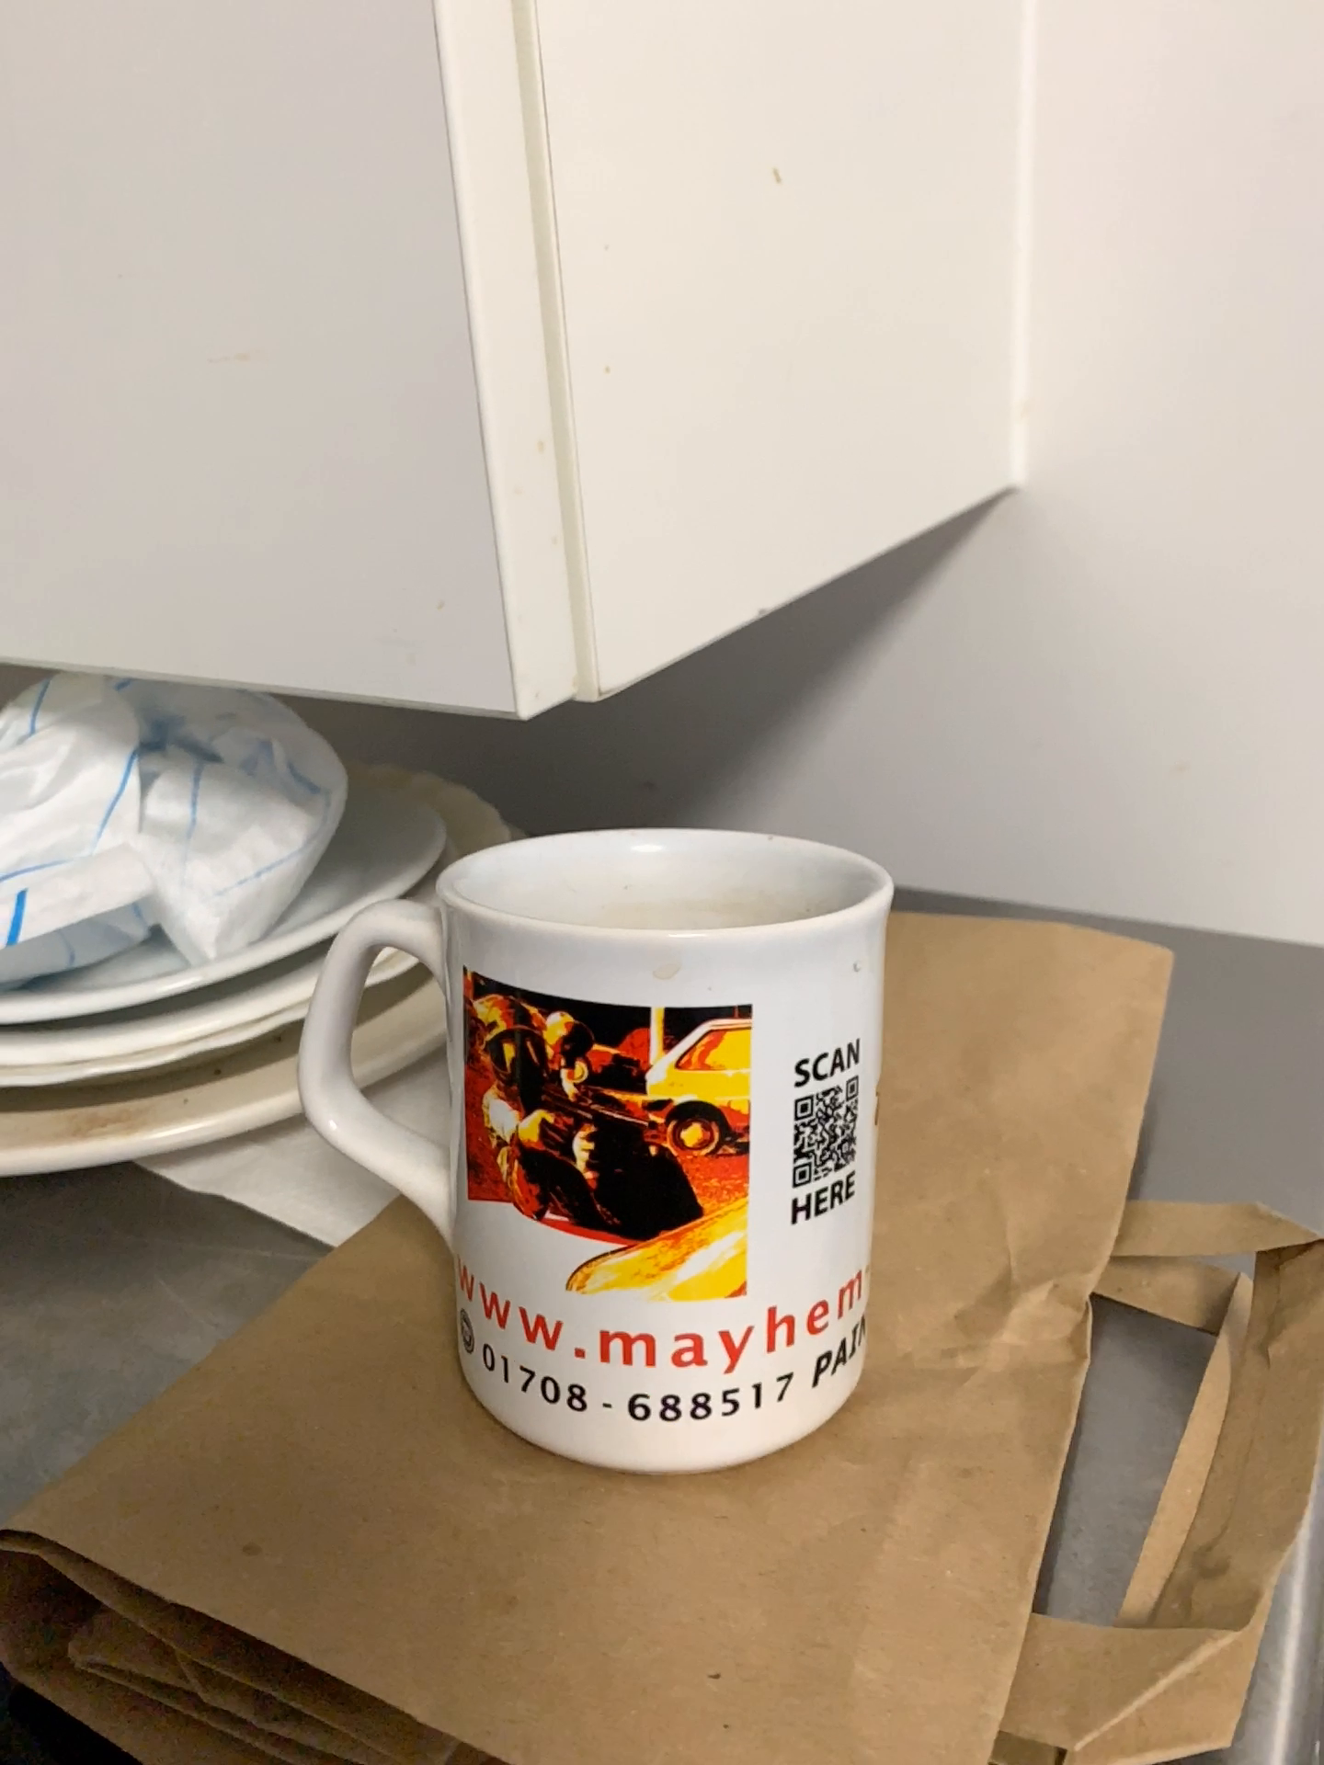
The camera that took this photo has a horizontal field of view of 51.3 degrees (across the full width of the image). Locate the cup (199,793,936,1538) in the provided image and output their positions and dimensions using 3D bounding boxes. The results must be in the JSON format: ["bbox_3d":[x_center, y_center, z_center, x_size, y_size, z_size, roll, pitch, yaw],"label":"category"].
[{"bbox_3d":[-0.012,0.038,0.244,0.100,0.088,0.078,6,14,24],"label":"cup"}]
